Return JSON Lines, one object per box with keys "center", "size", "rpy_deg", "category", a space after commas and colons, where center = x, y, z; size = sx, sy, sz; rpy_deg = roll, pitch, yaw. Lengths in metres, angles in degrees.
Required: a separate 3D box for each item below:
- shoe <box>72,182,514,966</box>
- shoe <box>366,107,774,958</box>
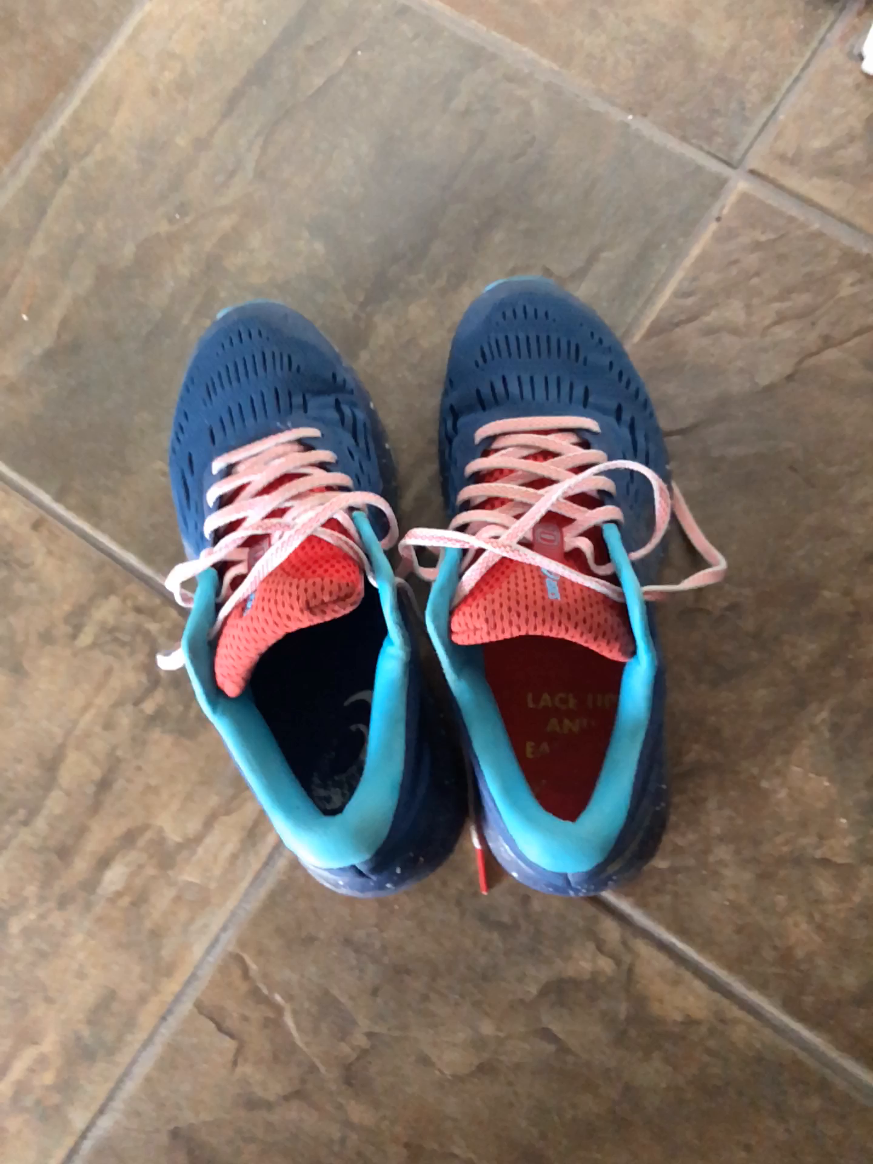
{"center": [-0.060, -0.002, 0.453], "size": [0.120, 0.130, 0.300], "rpy_deg": [-14, 80, 5], "category": "shoe"}
{"center": [0.049, -0.016, 0.408], "size": [0.120, 0.130, 0.300], "rpy_deg": [-5, 81, 6], "category": "shoe"}
